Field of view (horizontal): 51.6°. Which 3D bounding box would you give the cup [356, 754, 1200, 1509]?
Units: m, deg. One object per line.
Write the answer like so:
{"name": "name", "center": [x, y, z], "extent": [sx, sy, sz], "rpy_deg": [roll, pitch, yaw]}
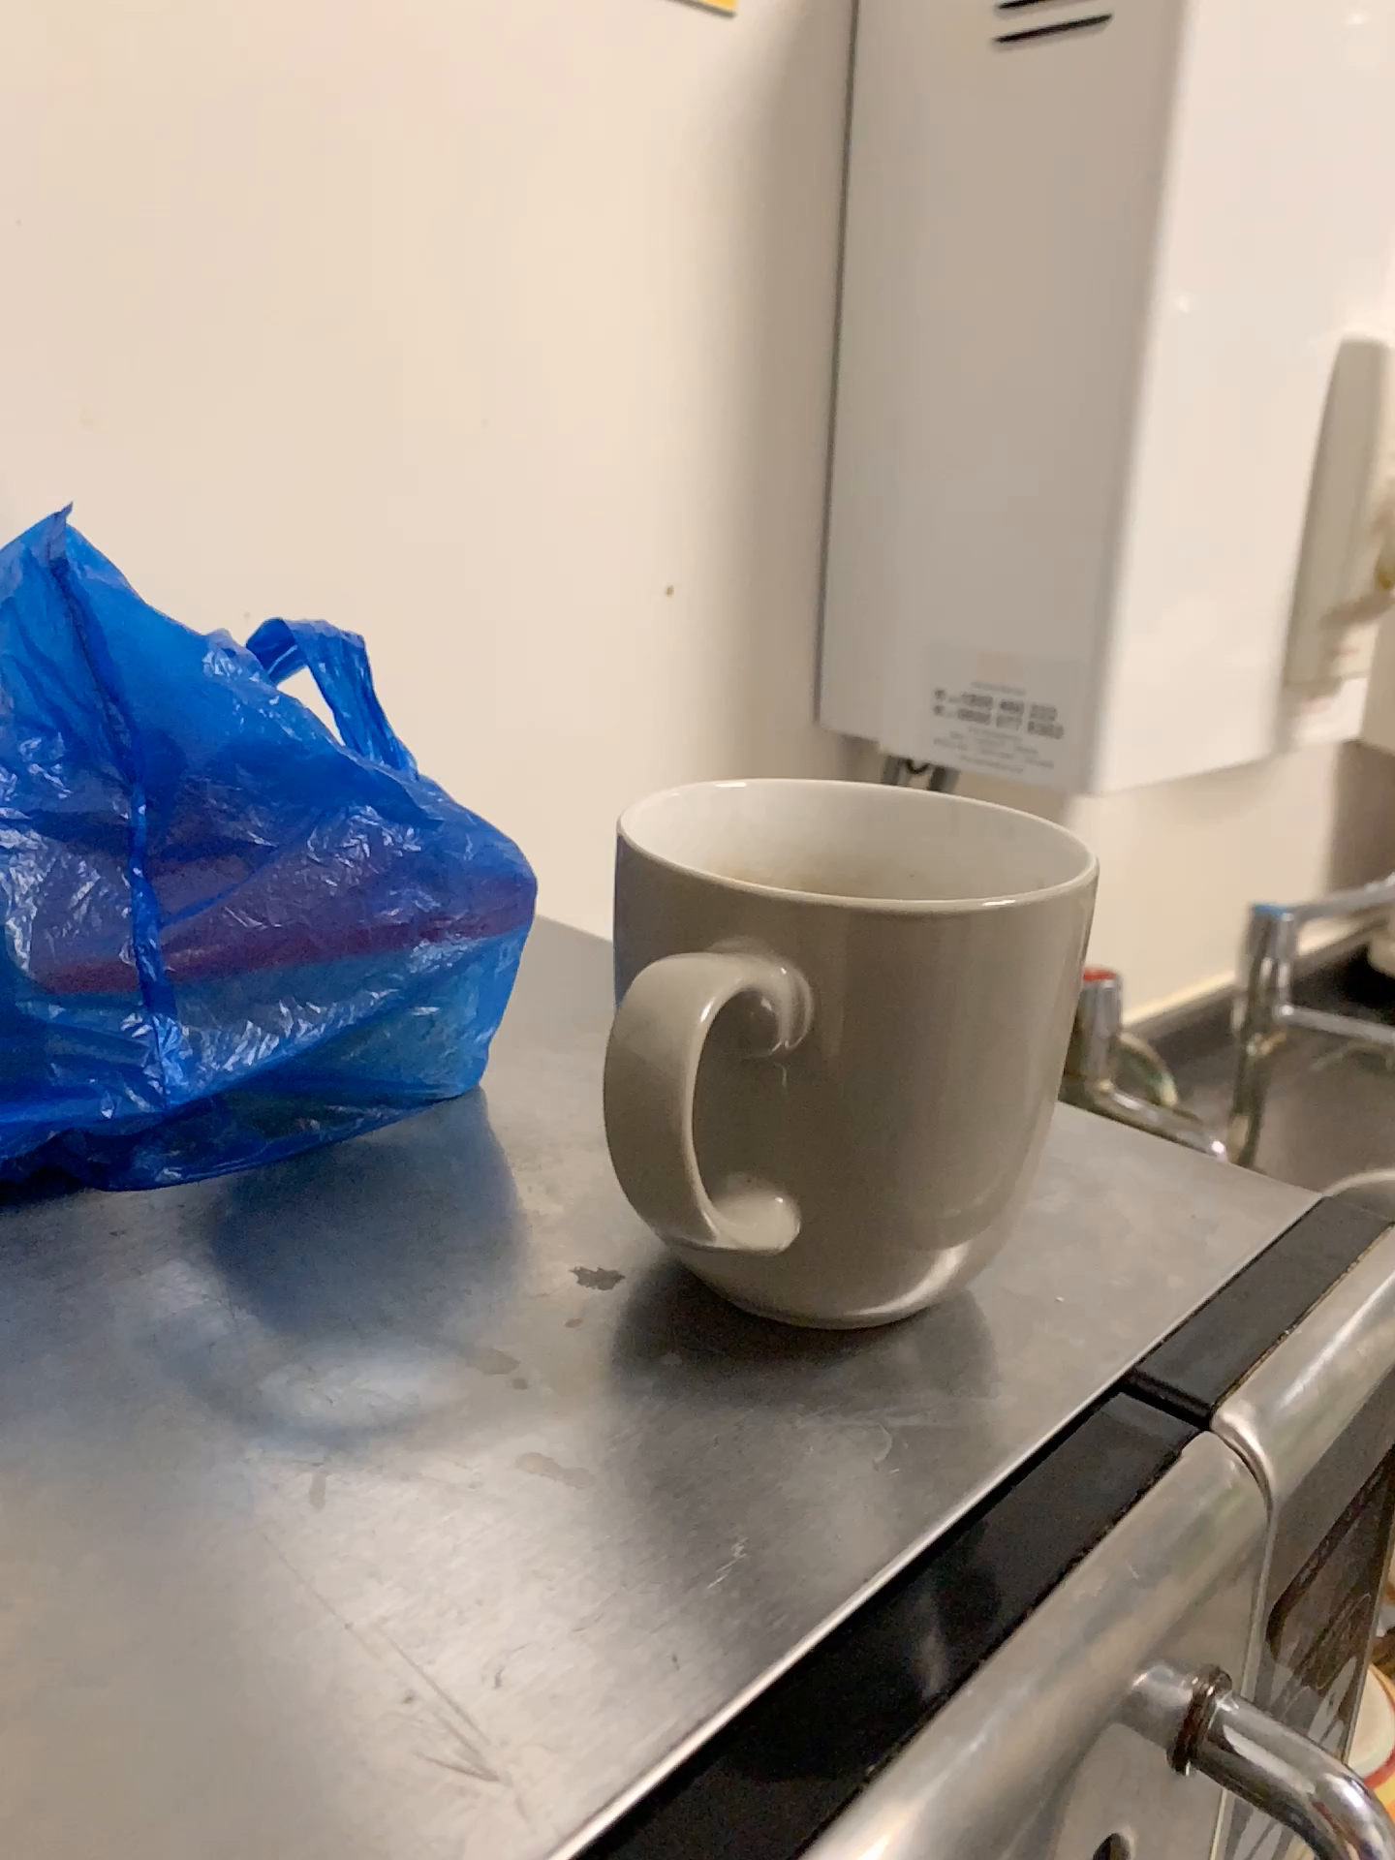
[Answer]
{"name": "cup", "center": [0.018, 0.022, 0.275], "extent": [0.094, 0.078, 0.129], "rpy_deg": [19, 25, 38]}
